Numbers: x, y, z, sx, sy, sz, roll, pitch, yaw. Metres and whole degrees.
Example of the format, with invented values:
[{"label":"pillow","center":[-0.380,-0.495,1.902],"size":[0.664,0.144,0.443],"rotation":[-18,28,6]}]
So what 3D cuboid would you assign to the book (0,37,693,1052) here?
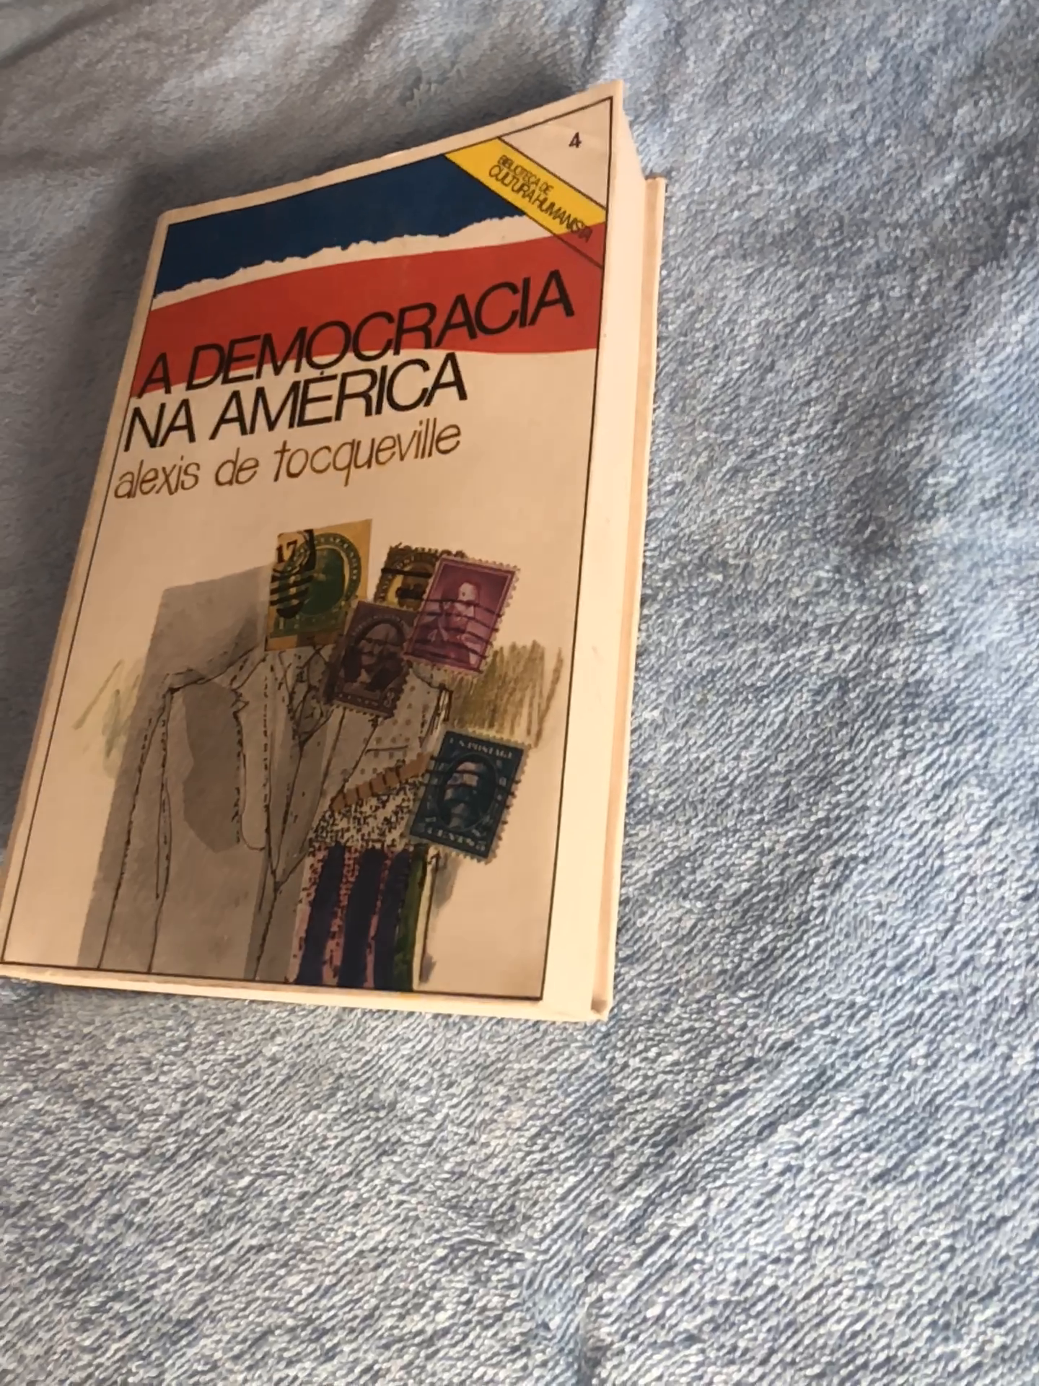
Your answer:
[{"label":"book","center":[-0.039,-0.030,0.262],"size":[0.140,0.050,0.200],"rotation":[-2,74,23]}]
